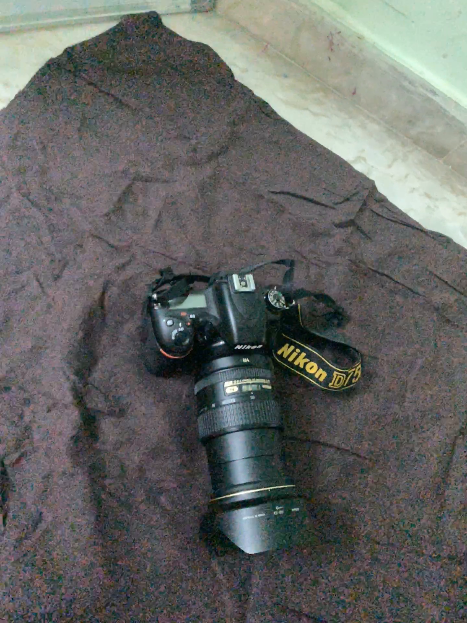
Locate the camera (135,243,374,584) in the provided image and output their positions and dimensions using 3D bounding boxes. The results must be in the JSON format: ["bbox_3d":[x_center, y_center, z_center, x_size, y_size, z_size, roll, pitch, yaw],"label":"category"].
[{"bbox_3d":[0.004,0.084,0.461,0.161,0.100,0.279,0,66,-22],"label":"camera"}]
